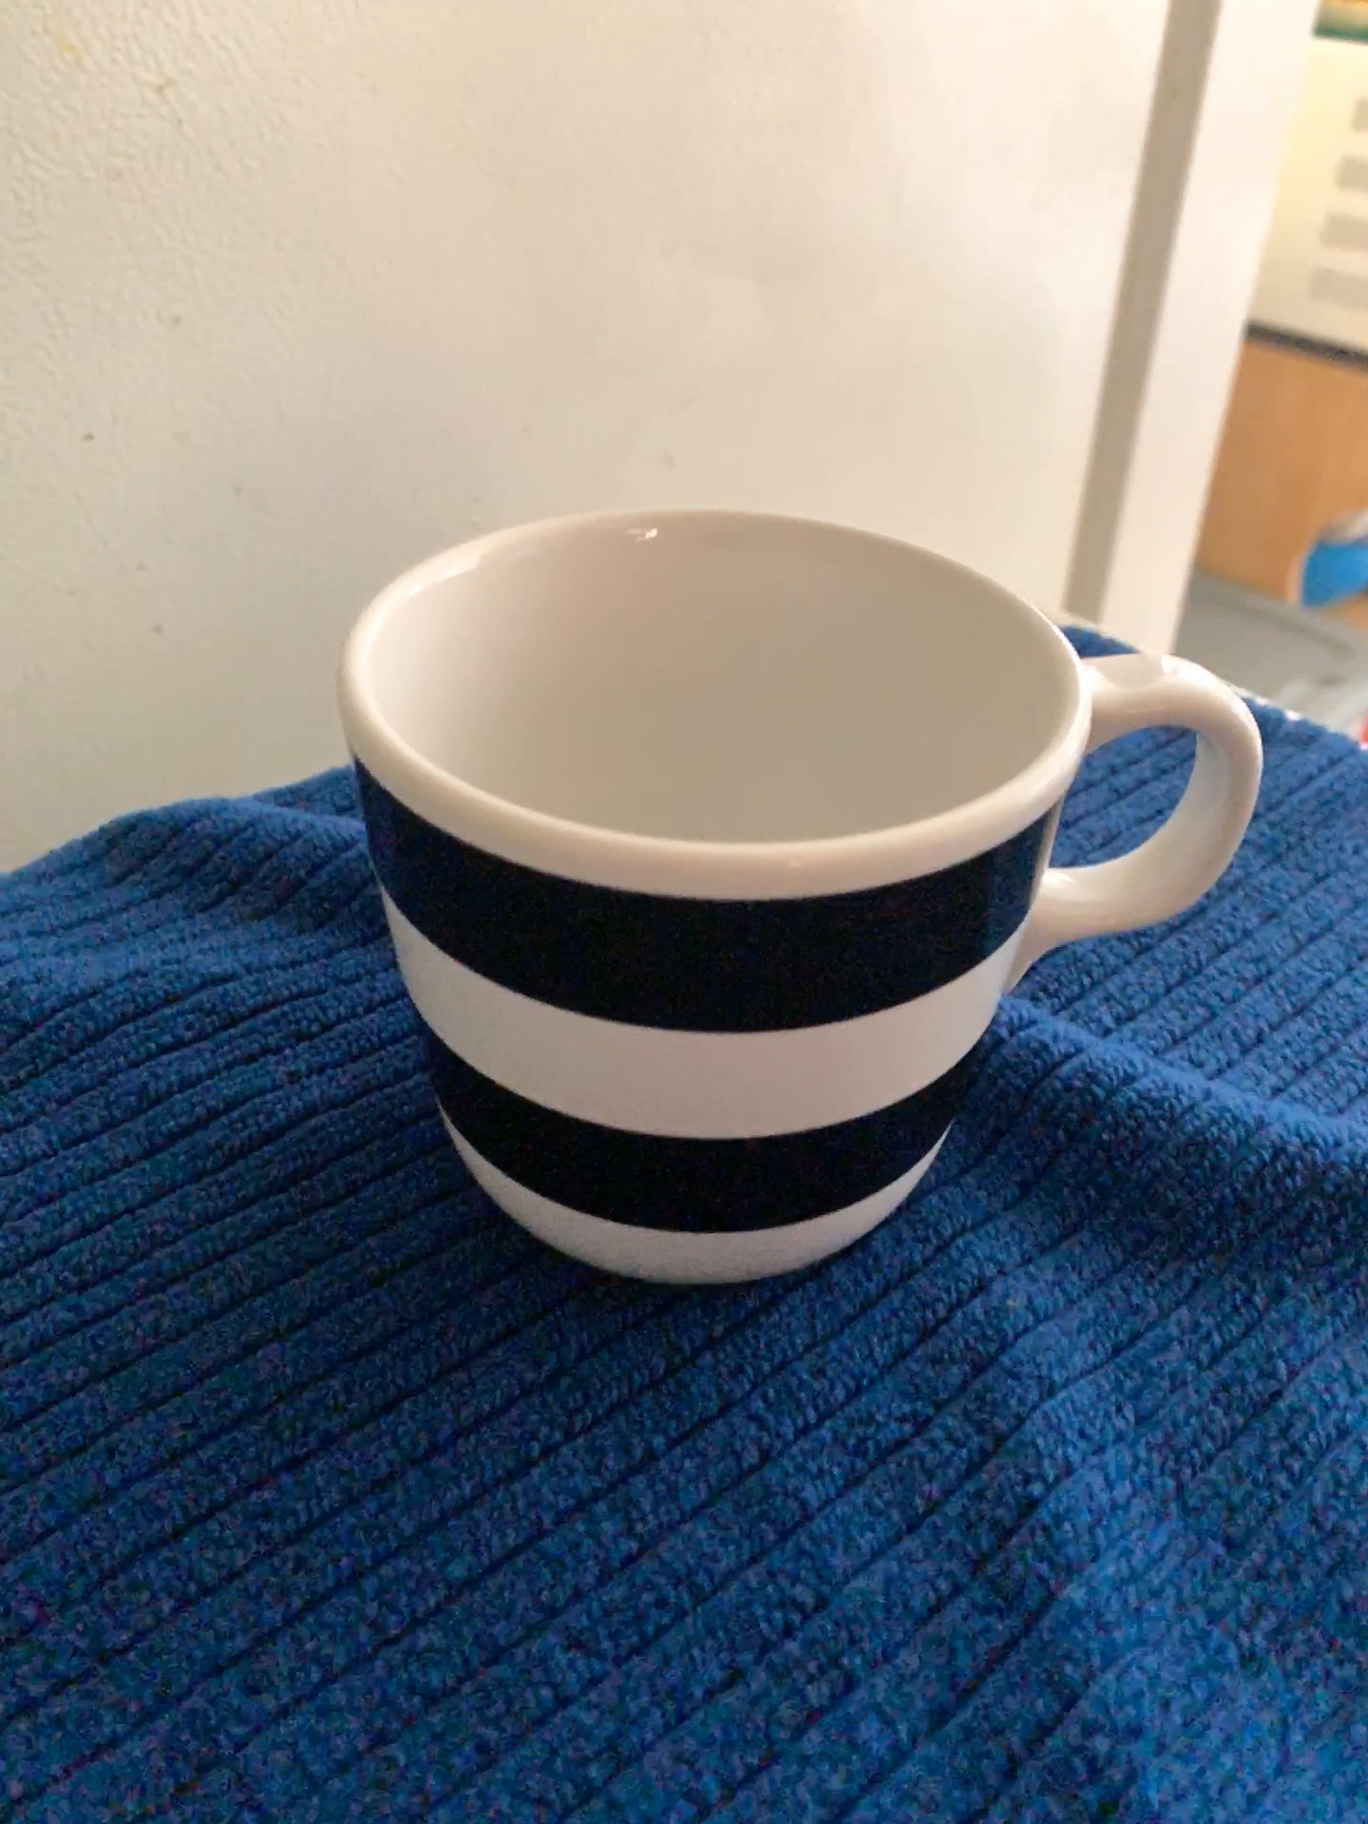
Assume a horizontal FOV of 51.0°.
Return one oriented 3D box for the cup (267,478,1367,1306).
[{"bbox_3d":[0.014,-0.008,0.182,0.113,0.057,0.085,-4,39,-6],"label":"cup"}]
